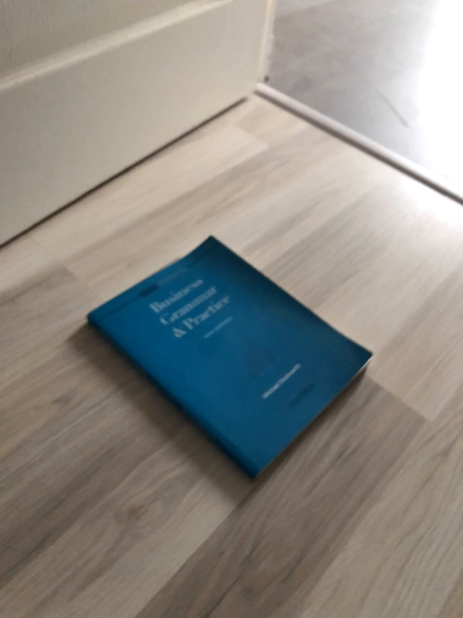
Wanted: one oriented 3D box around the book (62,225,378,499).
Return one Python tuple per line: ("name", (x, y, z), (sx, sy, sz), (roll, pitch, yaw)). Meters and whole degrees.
("book", (-0.015, 0.035, 0.627), (0.300, 0.040, 0.231), (38, 54, 24))
